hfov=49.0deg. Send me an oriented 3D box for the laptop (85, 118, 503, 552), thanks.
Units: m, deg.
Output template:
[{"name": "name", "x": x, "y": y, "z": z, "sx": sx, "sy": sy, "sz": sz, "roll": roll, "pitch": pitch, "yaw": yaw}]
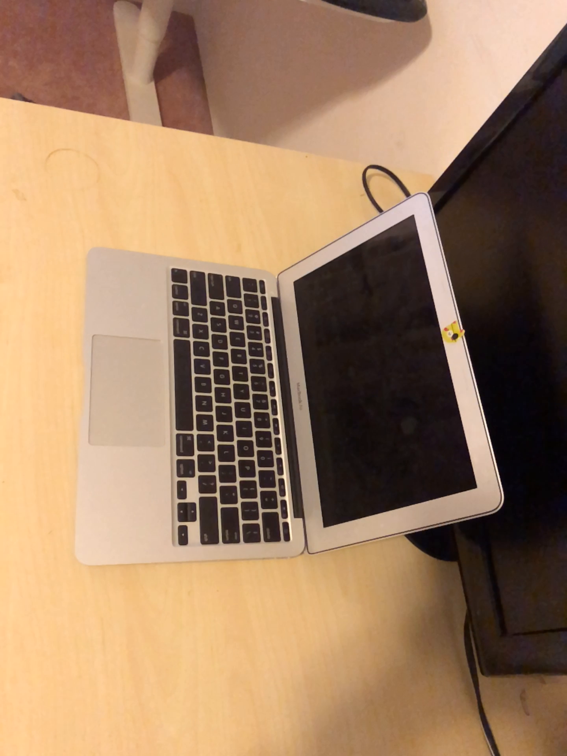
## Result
[{"name": "laptop", "x": -0.013, "y": -0.019, "z": 0.527, "sx": 0.275, "sy": 0.161, "sz": 0.291, "roll": 5, "pitch": 63, "yaw": -22}]
